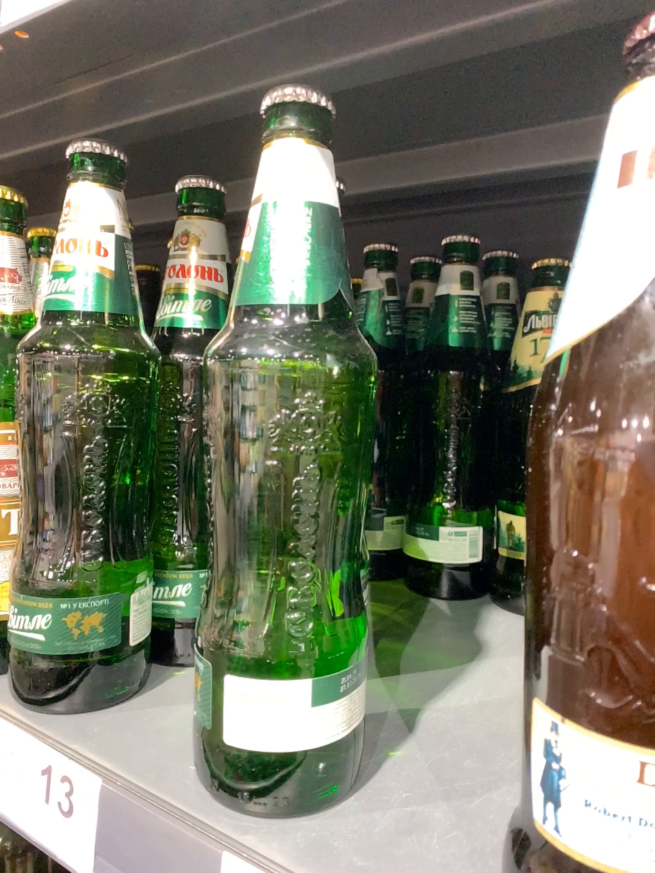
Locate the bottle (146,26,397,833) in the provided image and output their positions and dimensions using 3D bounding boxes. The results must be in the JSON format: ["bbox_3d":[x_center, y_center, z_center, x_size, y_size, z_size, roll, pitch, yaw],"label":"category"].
[{"bbox_3d":[-0.018,-0.002,0.260,0.070,0.257,0.073,1,4,0],"label":"bottle"}]
